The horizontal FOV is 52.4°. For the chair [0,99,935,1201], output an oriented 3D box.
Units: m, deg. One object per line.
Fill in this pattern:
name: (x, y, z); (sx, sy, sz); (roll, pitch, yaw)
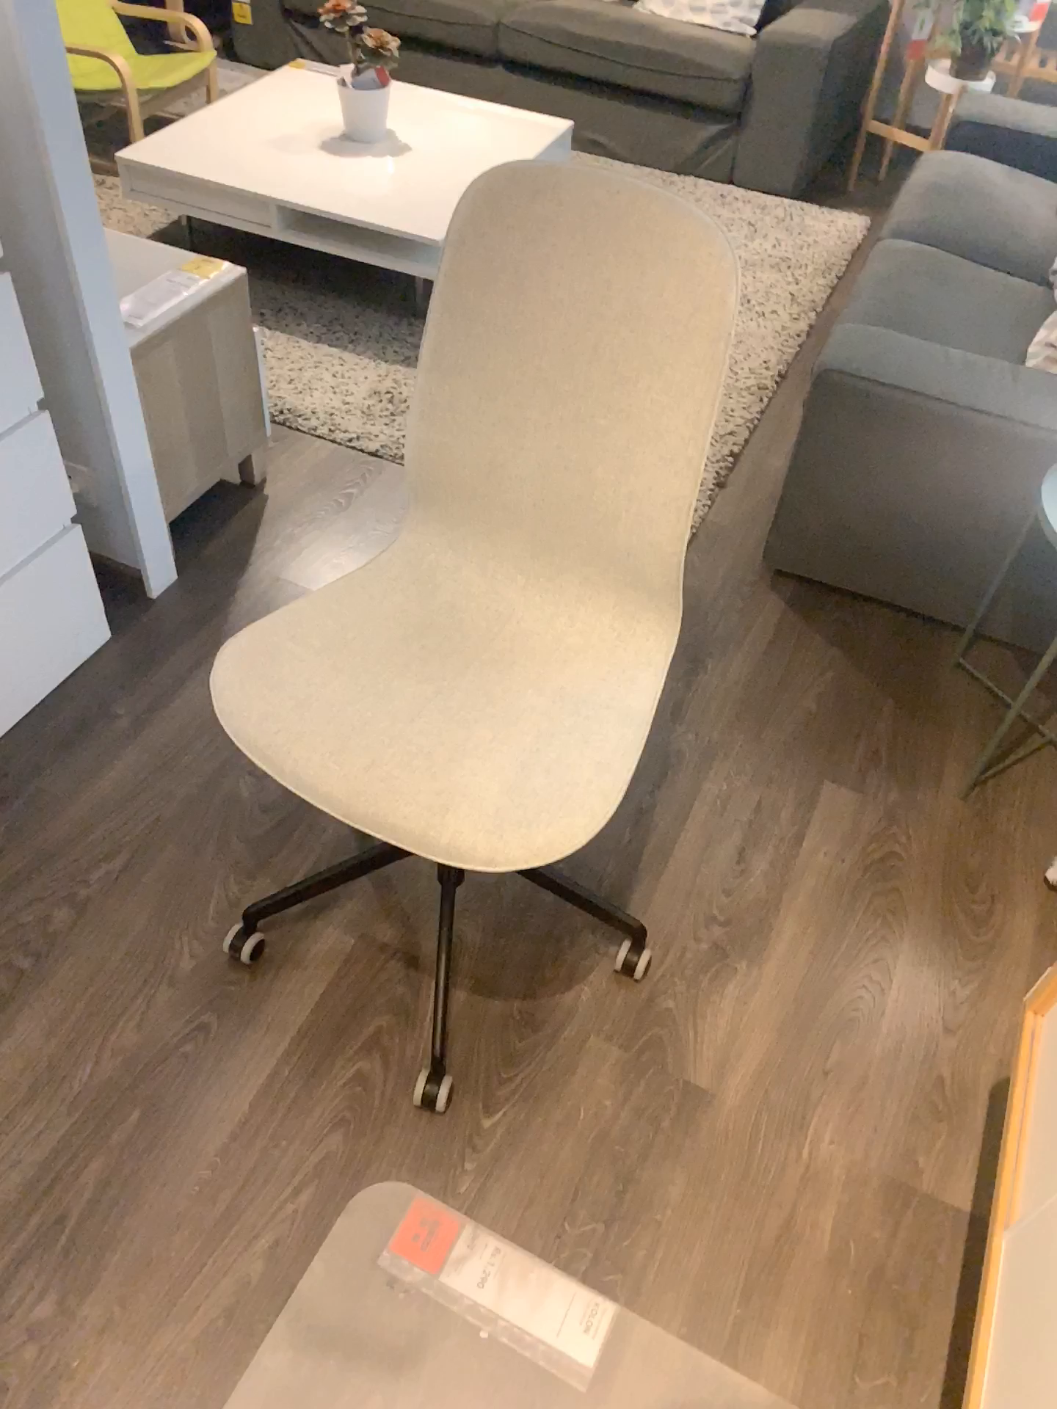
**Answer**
chair: (-0.055, -0.040, 1.341); (0.631, 1.006, 0.712); (23, 49, 15)
